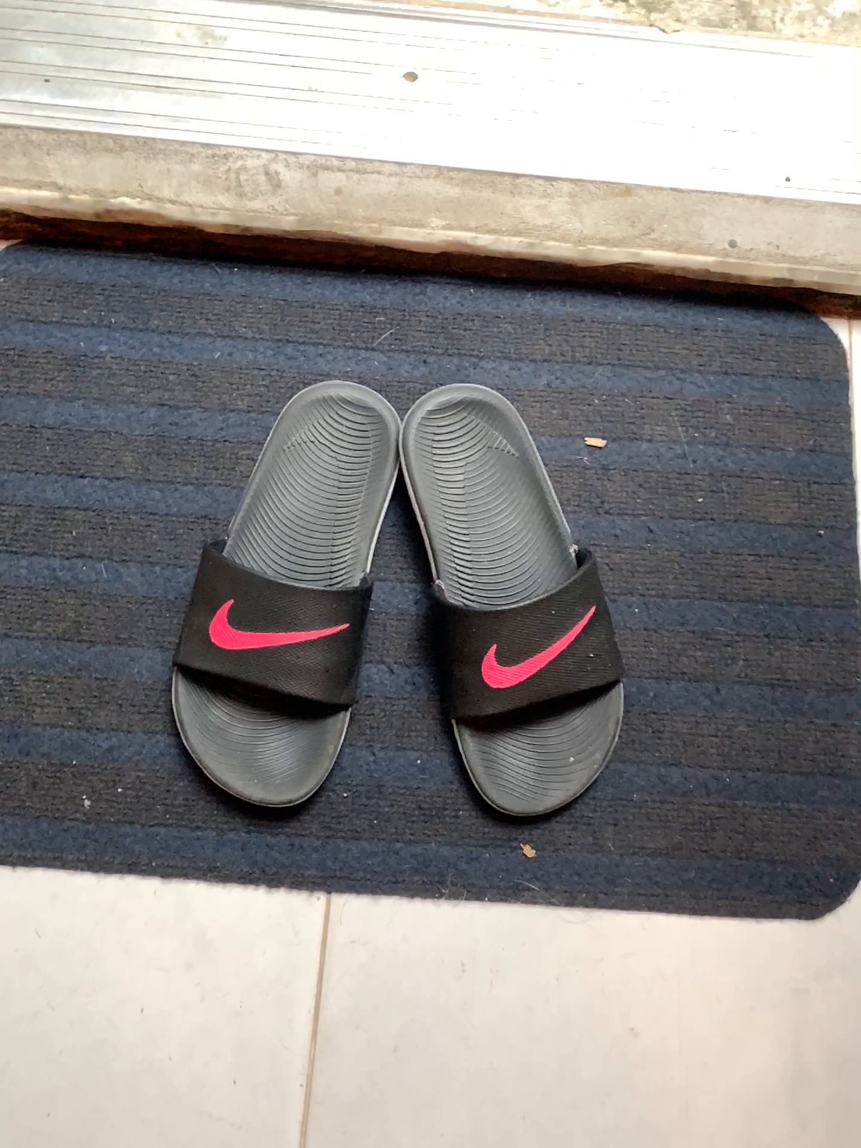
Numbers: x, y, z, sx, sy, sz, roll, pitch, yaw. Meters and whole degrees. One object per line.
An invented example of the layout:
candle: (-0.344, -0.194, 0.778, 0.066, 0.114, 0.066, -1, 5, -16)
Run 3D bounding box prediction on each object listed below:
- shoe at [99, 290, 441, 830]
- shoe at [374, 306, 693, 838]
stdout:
shoe: (-0.072, -0.007, 0.455, 0.099, 0.078, 0.251, 13, 75, 1)
shoe: (0.043, -0.001, 0.460, 0.099, 0.078, 0.251, -11, 76, -6)
